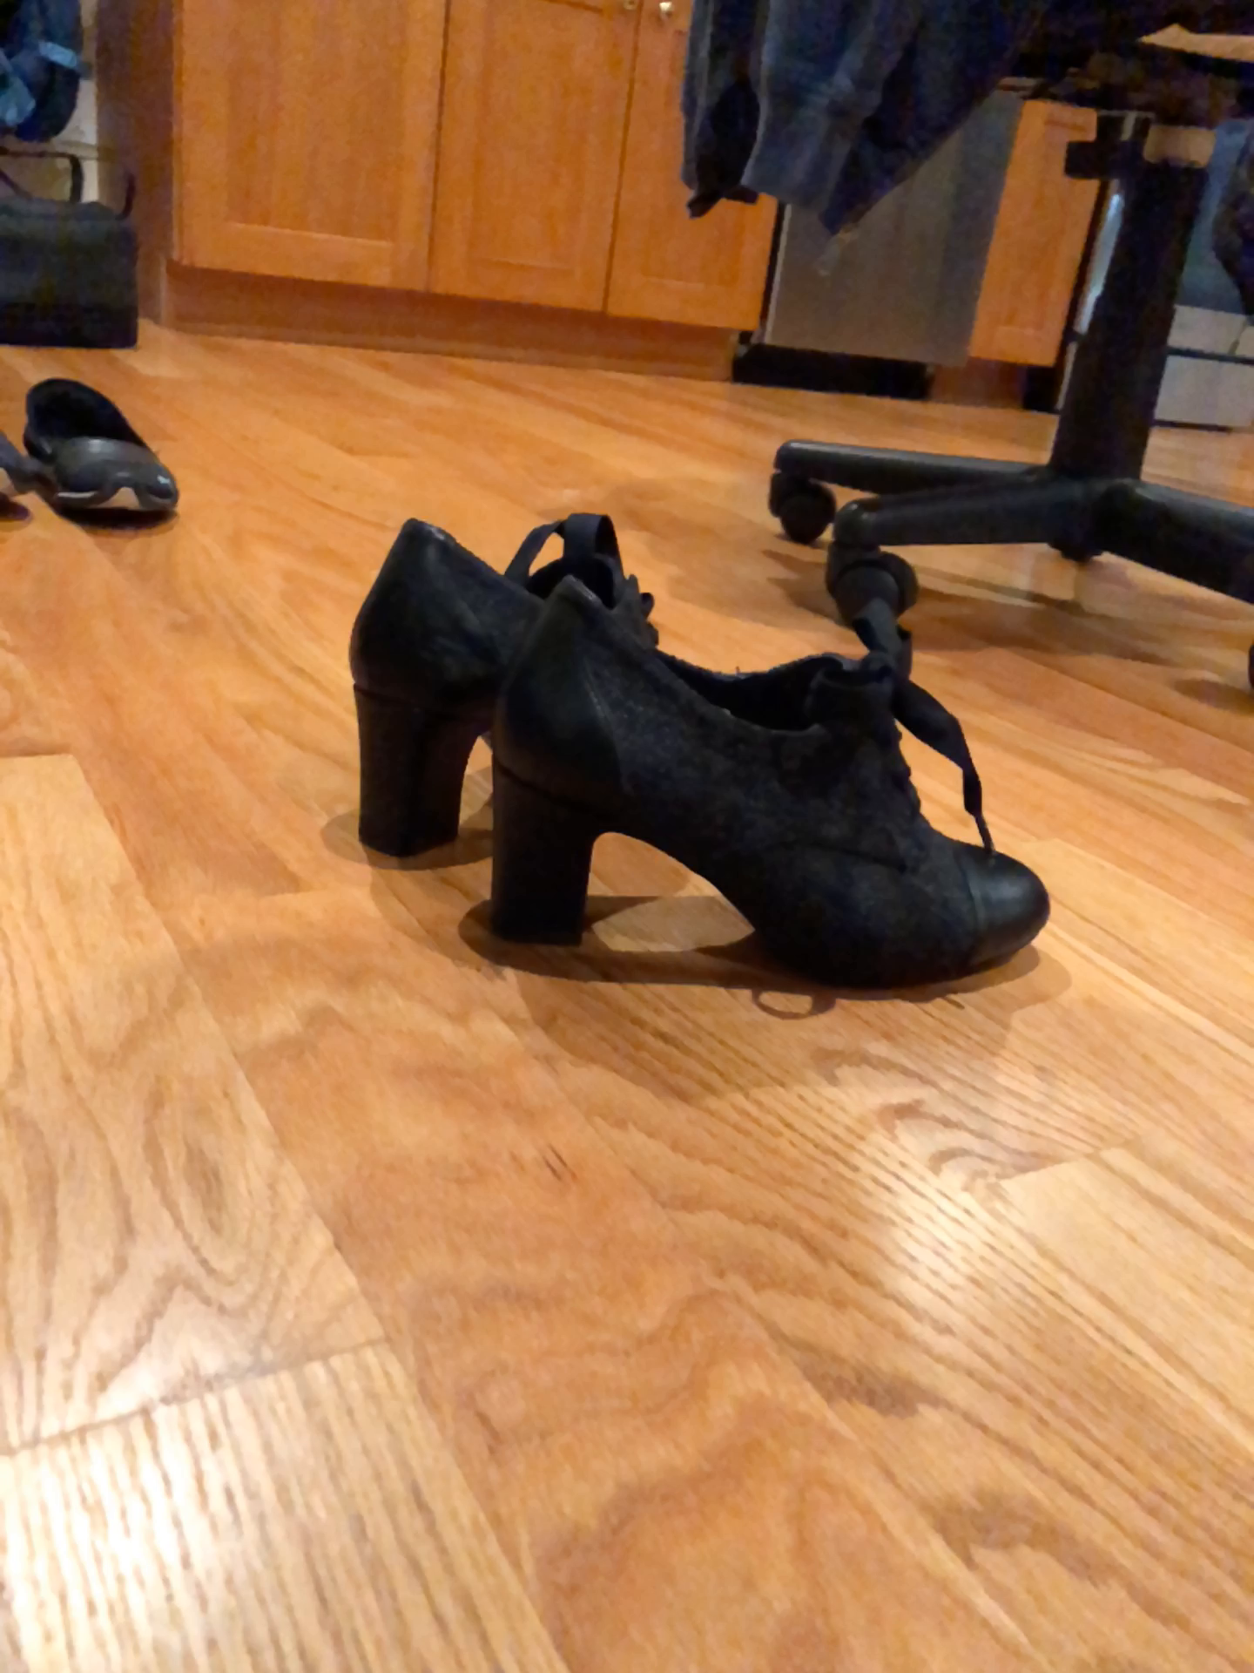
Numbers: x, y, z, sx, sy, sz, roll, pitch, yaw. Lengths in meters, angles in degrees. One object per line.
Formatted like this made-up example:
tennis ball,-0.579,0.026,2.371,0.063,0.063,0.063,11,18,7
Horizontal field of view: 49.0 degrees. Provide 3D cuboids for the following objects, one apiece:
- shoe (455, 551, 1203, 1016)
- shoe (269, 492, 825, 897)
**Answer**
shoe,0.060,-0.017,0.484,0.223,0.125,0.094,3,23,-13
shoe,-0.028,-0.072,0.585,0.088,0.125,0.223,26,28,37
